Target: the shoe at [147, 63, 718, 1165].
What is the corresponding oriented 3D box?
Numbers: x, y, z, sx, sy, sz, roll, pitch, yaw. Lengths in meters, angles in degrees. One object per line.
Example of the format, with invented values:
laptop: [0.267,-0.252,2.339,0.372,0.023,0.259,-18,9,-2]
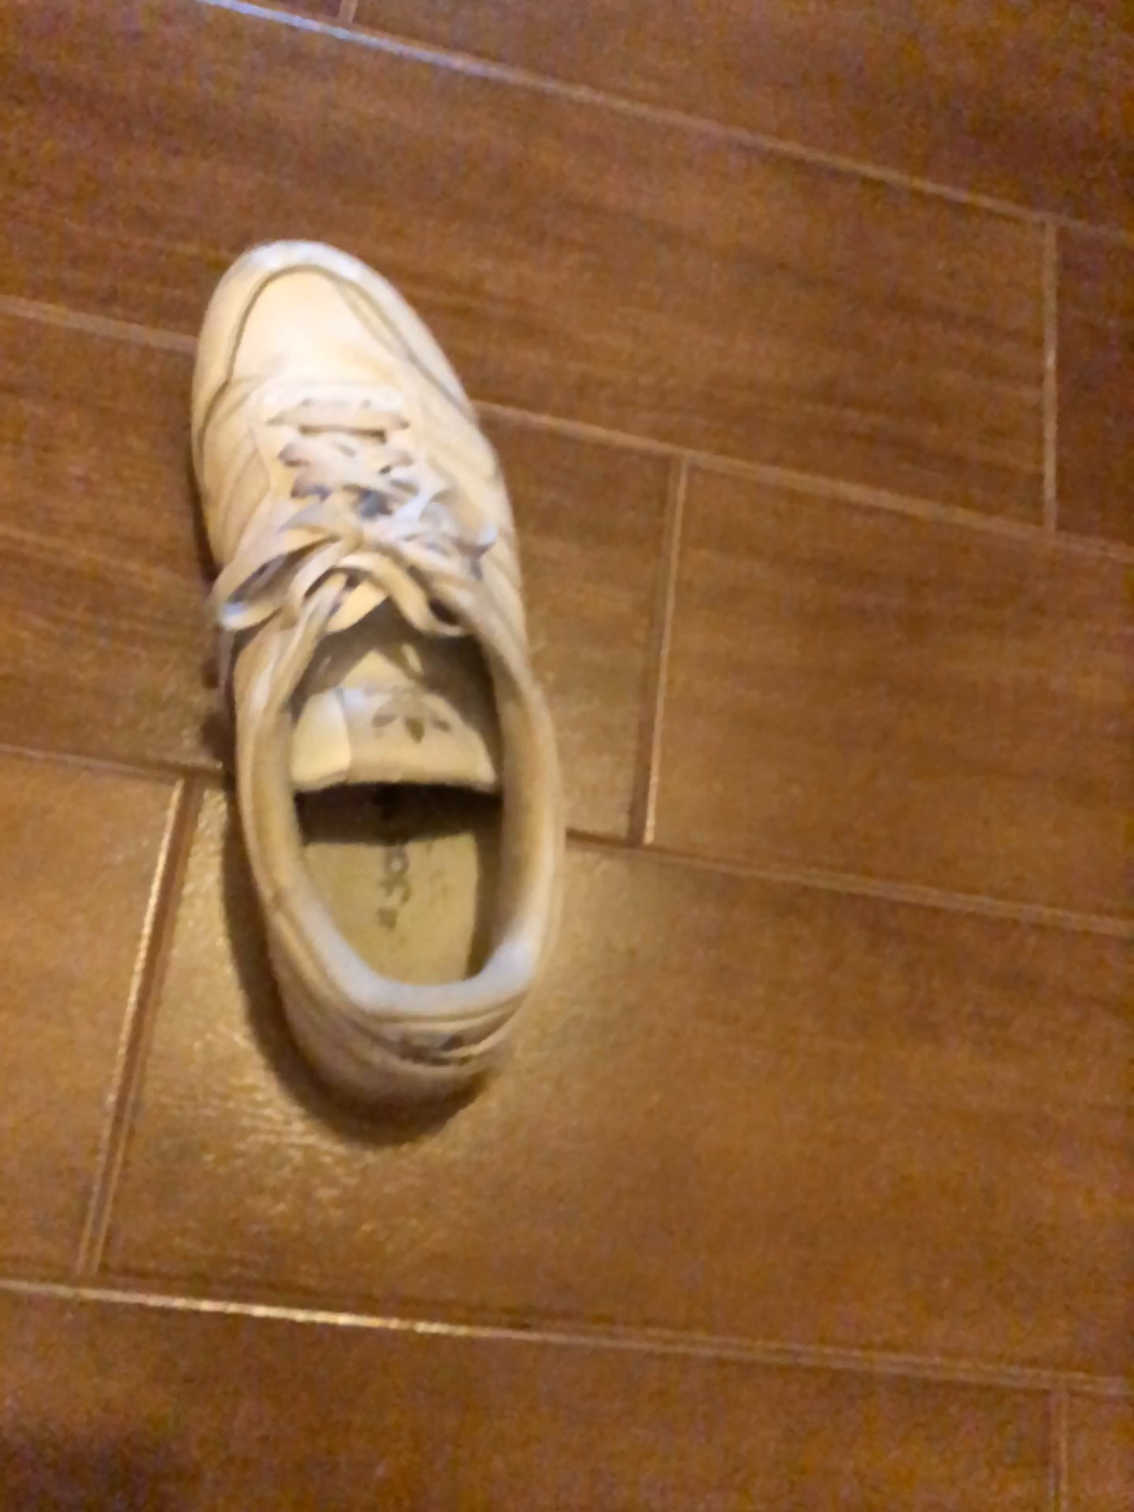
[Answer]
shoe: [-0.055,-0.043,0.404,0.120,0.120,0.310,-5,75,-14]
